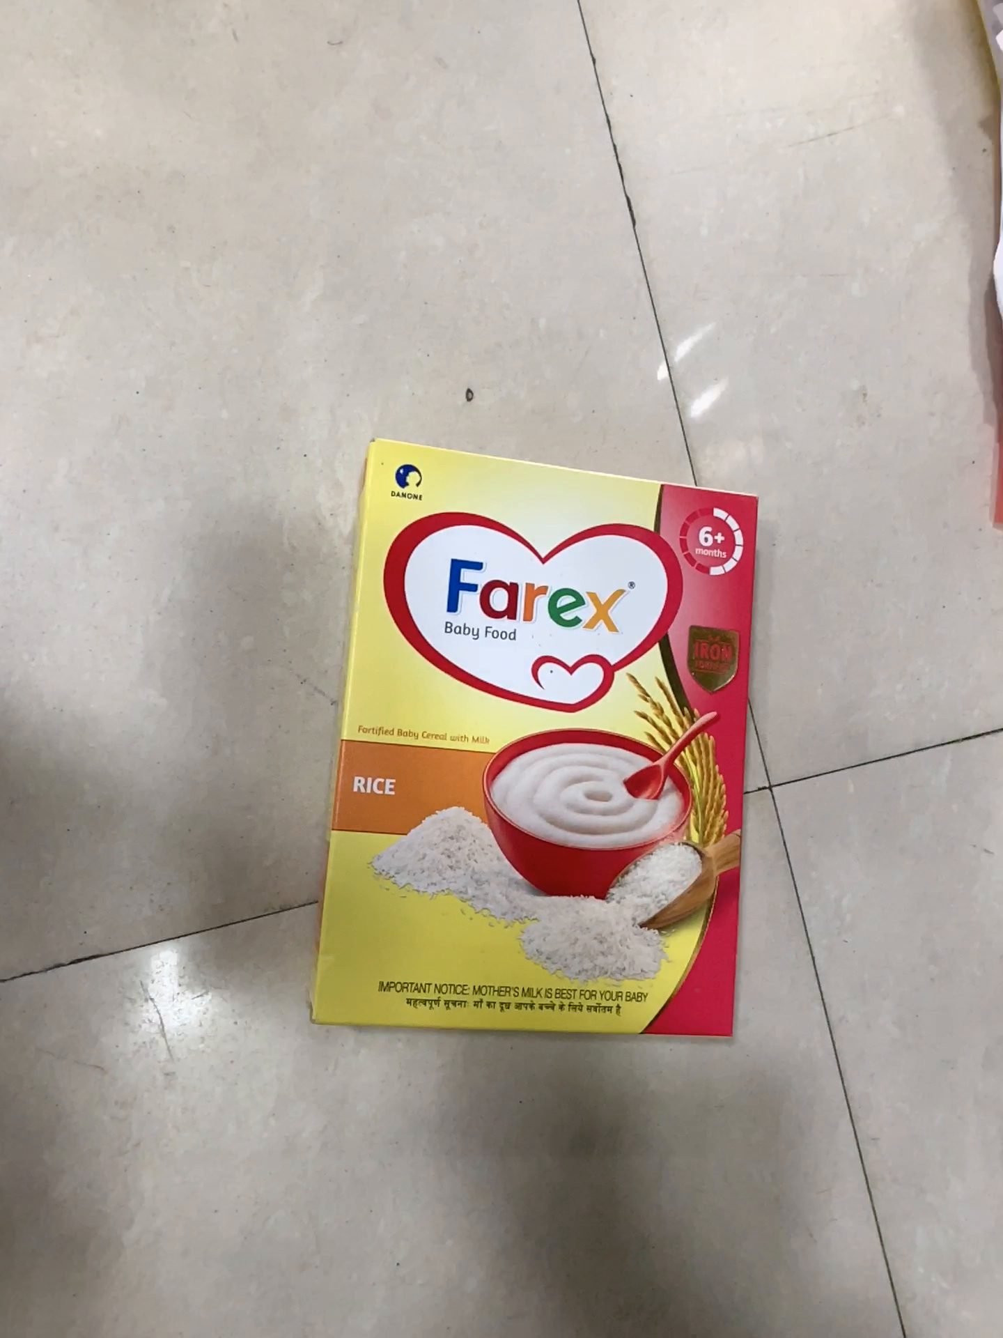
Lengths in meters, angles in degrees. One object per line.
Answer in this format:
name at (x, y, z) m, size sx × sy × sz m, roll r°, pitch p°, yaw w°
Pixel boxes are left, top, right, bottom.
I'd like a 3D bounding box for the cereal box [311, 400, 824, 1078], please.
cereal box at (0.025, 0.027, 0.368) m, size 0.160 × 0.060 × 0.210 m, roll 6°, pitch 81°, yaw -12°
